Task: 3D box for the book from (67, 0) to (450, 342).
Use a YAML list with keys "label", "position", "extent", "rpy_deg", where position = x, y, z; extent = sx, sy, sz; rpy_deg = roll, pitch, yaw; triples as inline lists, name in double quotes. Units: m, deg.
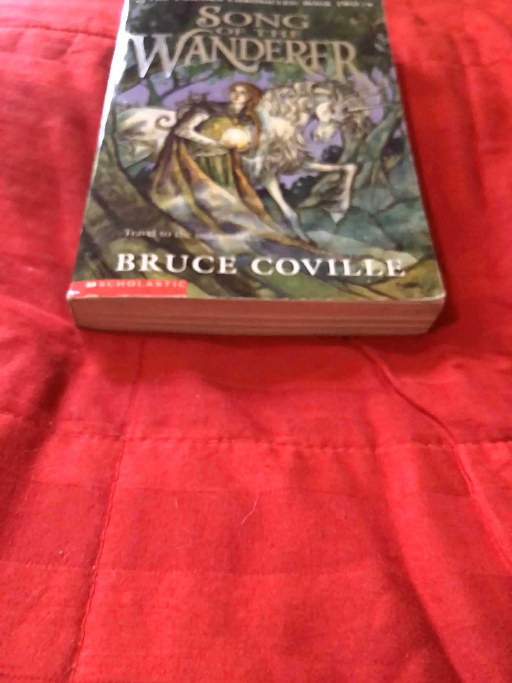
- label: "book"
  position: [0.001, -0.091, 0.255]
  extent: [0.130, 0.030, 0.191]
  rpy_deg: [0, 61, 0]
